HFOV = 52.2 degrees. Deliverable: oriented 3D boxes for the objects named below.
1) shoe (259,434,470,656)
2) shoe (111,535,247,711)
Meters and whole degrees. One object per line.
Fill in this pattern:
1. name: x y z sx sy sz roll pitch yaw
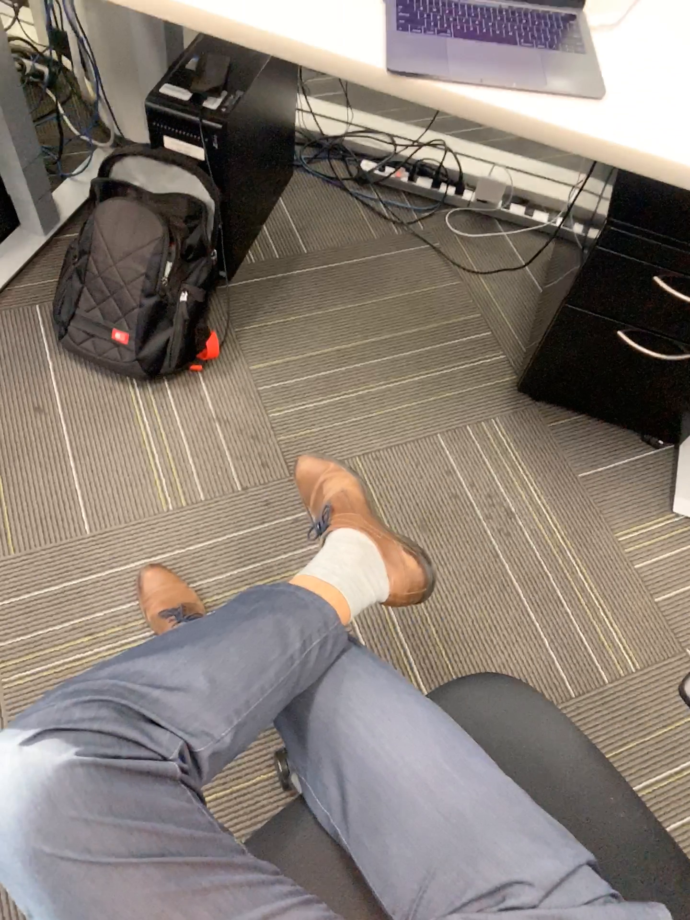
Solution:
1. shoe: 0.018 0.106 0.964 0.082 0.114 0.294 -12 51 -48
2. shoe: -0.292 0.281 1.238 0.112 0.068 0.276 -28 67 -21
